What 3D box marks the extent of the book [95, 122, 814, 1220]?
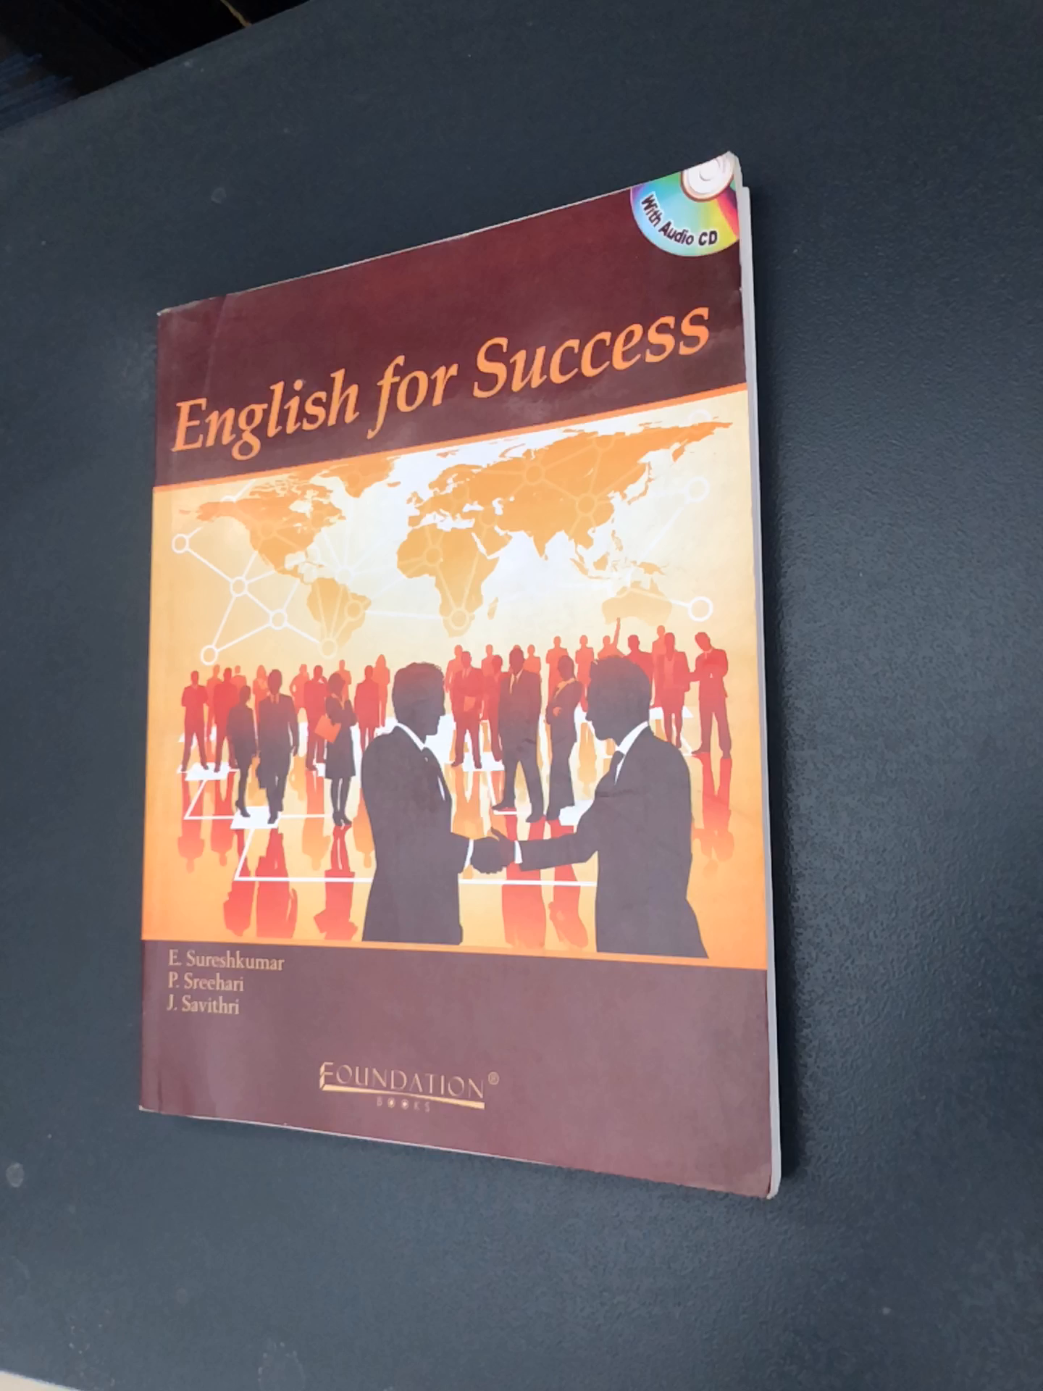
[{"bbox_3d":[-0.027,-0.005,0.306,0.190,0.030,0.240,-4,82,26],"label":"book"}]
